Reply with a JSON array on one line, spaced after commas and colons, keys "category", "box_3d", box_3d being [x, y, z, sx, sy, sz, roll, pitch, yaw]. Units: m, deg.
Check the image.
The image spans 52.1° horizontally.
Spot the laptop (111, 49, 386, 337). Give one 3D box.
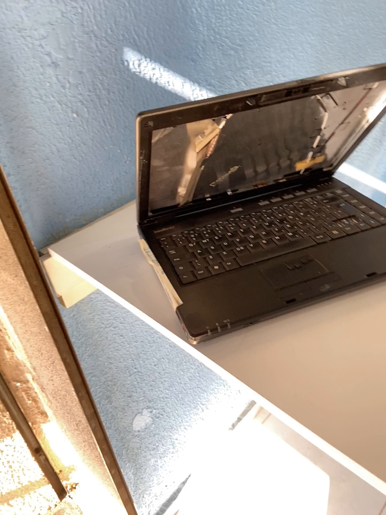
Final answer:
[{"category": "laptop", "box_3d": [0.103, -0.104, 0.464, 0.323, 0.191, 0.232, -16, 36, -14]}]
